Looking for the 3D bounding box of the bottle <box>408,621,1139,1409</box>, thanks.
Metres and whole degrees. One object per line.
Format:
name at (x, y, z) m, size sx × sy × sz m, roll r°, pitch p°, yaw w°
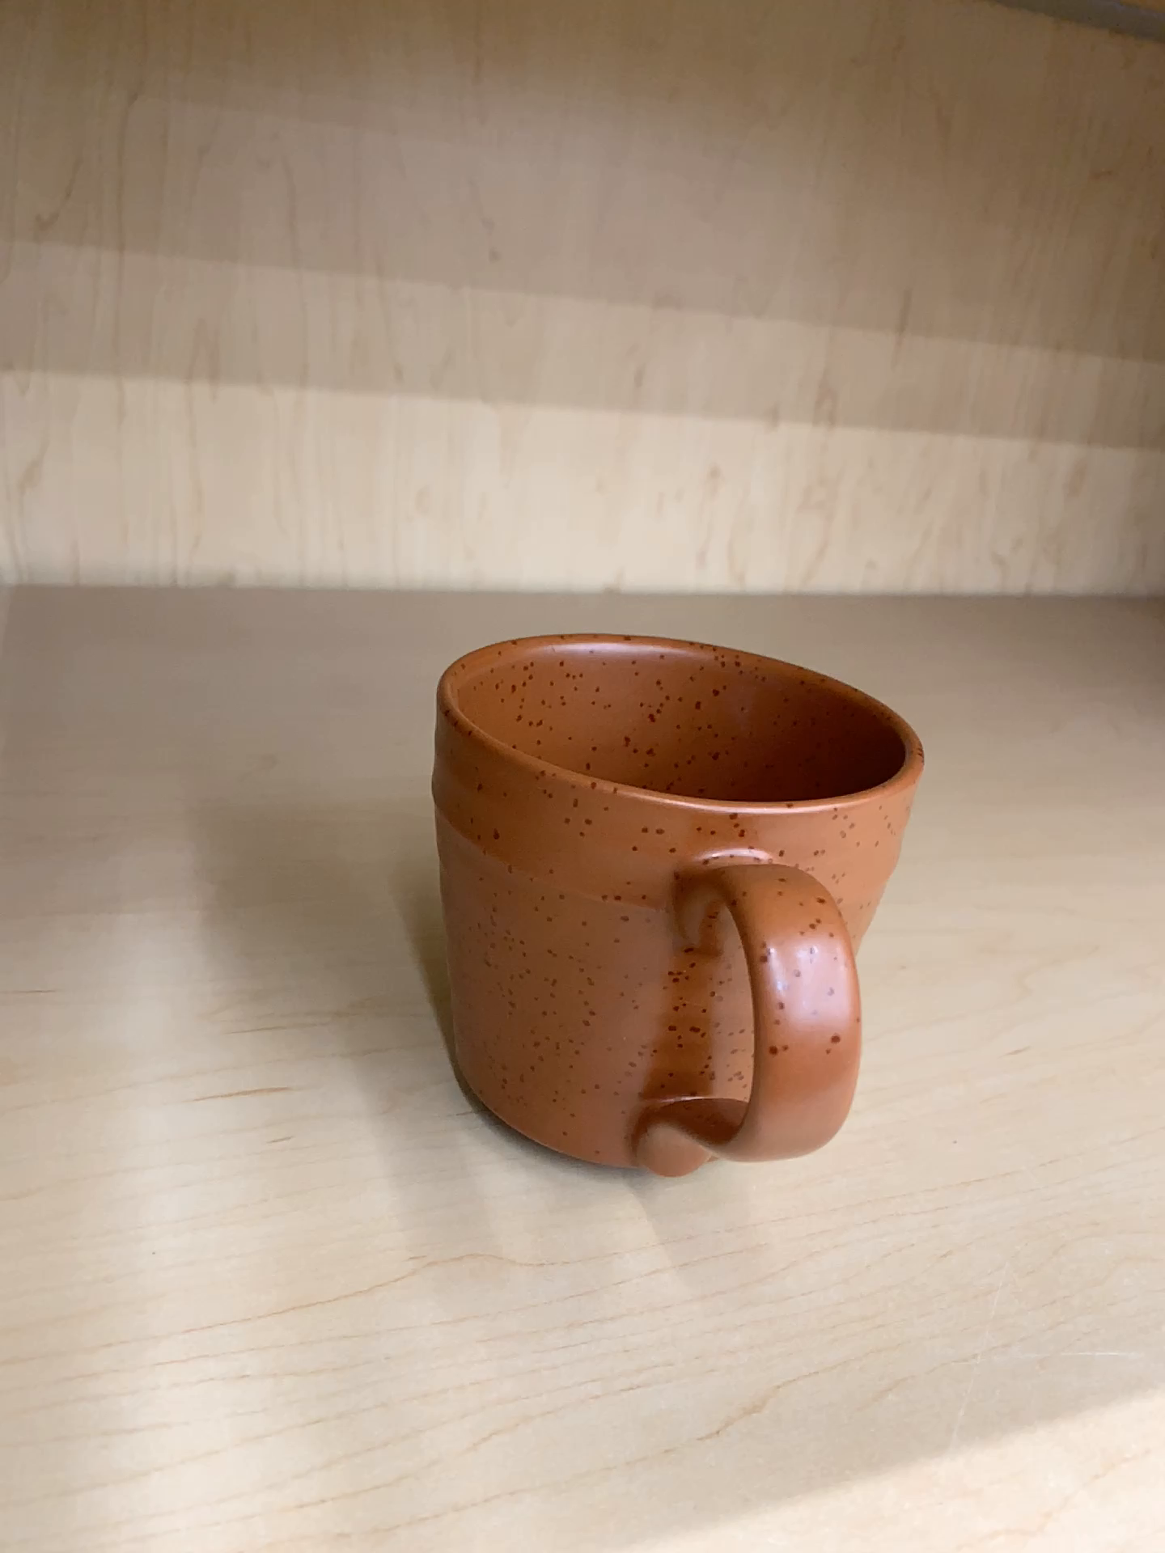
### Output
bottle at (0.018, 0.034, 0.250) m, size 0.100 × 0.090 × 0.141 m, roll 2°, pitch 23°, yaw -10°
